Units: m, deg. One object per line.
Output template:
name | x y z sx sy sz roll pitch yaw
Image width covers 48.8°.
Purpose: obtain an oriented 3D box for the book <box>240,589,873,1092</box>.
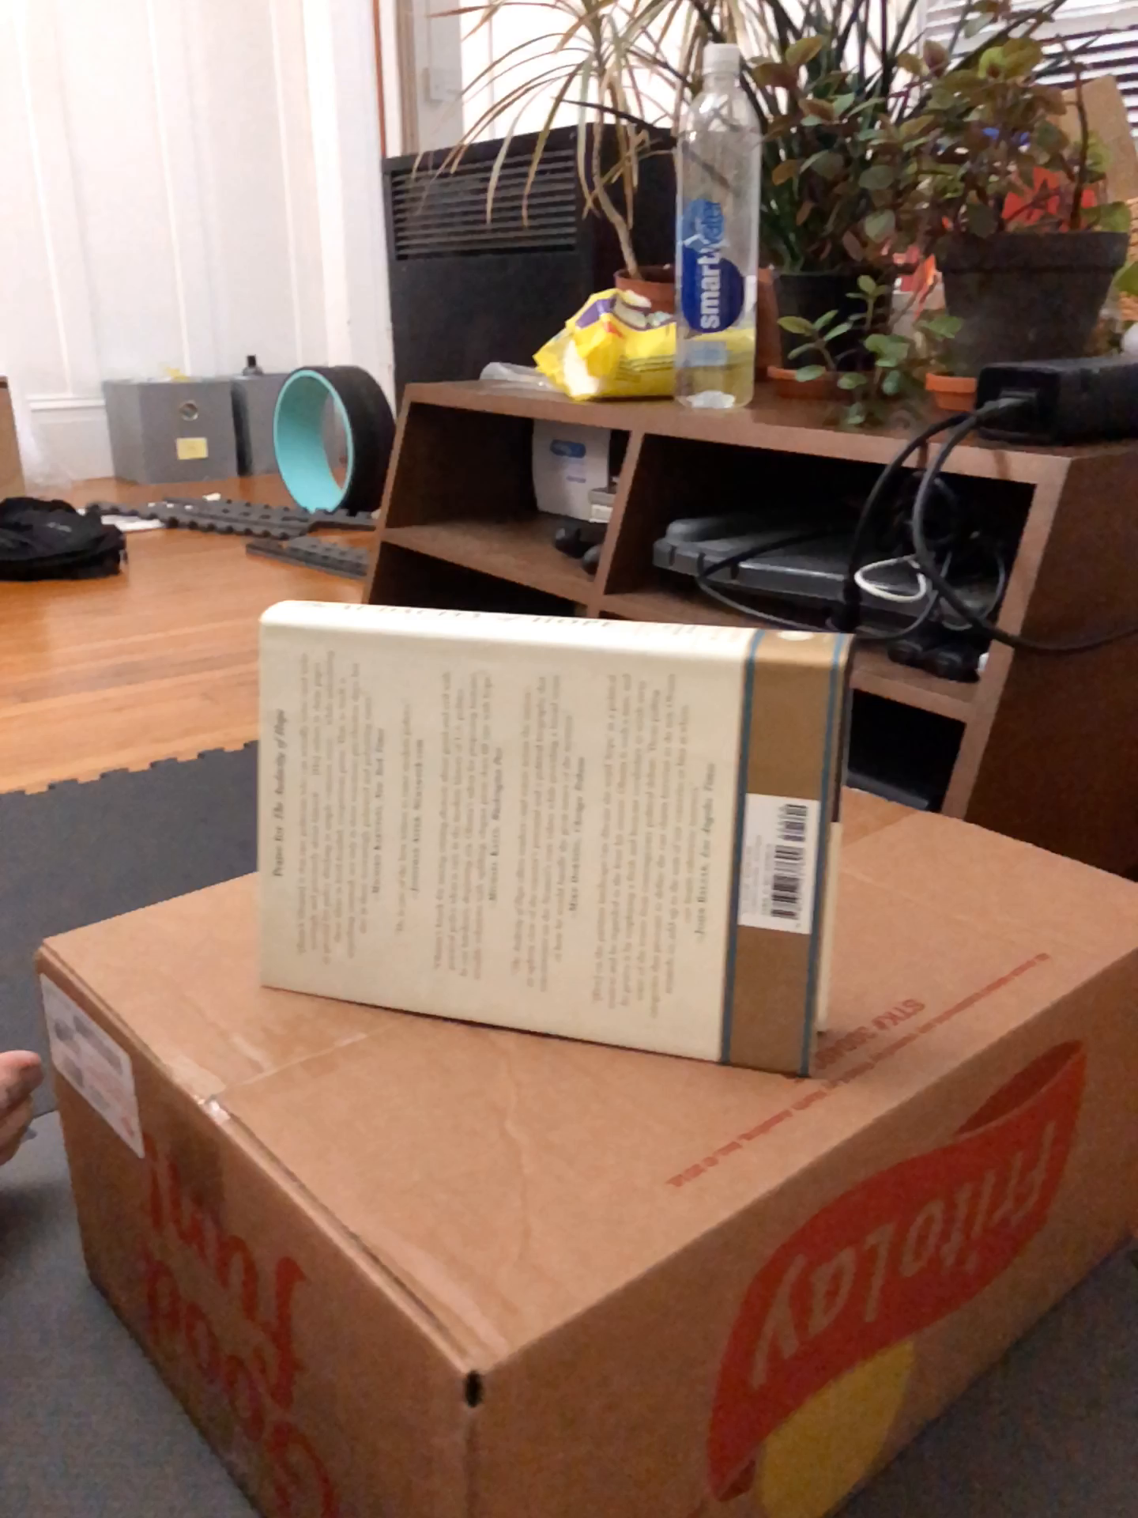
book | -0.011 0.024 0.527 0.250 0.170 0.060 7 10 16
